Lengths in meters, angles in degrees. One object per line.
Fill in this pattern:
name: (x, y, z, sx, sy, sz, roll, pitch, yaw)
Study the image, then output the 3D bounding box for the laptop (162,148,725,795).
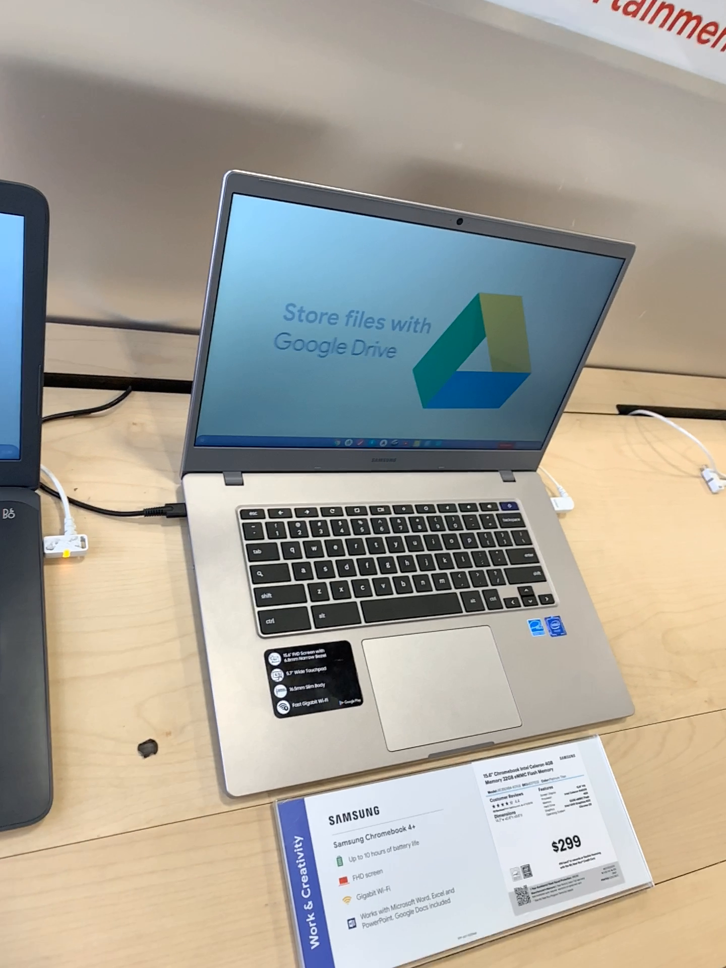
laptop: (0.069, -0.006, 0.545, 0.352, 0.205, 0.338, -1, 60, -27)

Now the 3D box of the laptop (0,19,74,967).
laptop: (-0.328, 0.012, 0.344, 0.321, 0.193, 0.294, -2, 59, -28)
